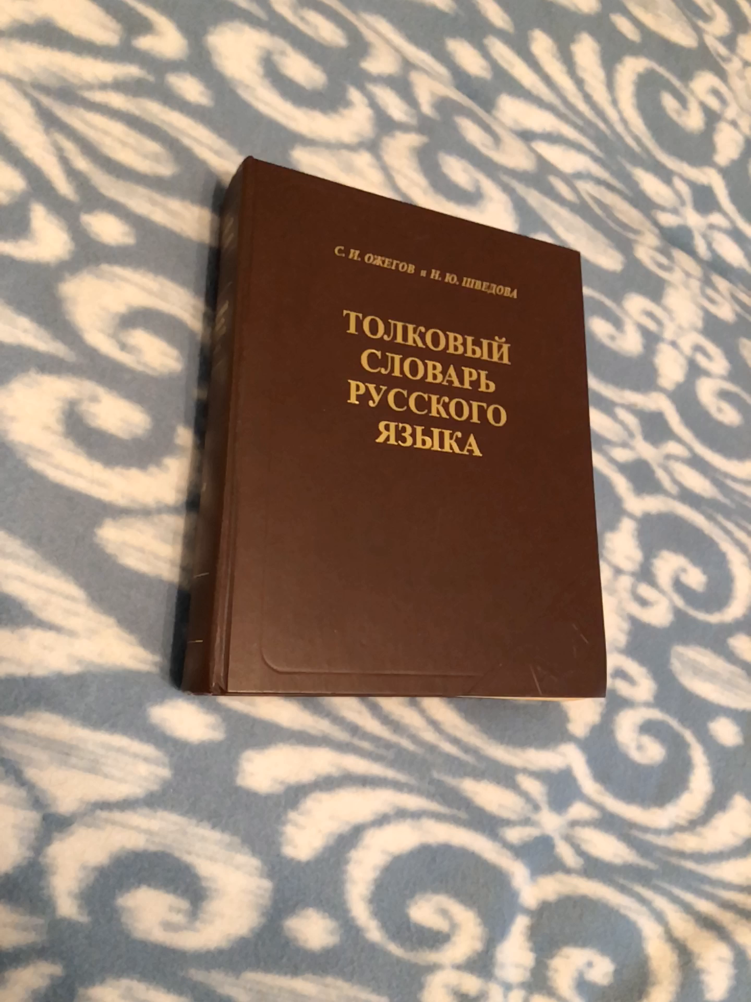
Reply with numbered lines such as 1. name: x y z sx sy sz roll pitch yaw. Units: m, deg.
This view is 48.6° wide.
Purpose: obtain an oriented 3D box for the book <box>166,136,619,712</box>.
1. book: 0.016 -0.028 0.450 0.221 0.067 0.270 8 75 -24
